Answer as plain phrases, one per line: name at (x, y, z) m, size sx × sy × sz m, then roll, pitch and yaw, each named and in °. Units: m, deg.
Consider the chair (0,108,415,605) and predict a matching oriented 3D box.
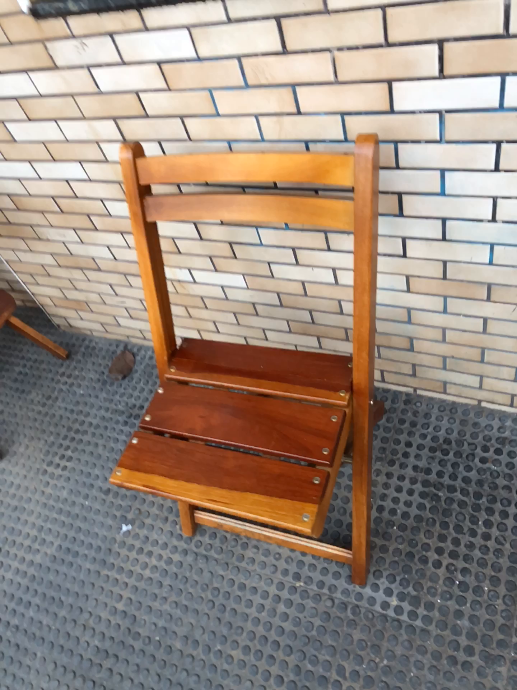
chair at (0.003, 0.062, 1.044) m, size 0.471 × 0.765 × 0.492 m, roll 7°, pitch 55°, yaw 21°
